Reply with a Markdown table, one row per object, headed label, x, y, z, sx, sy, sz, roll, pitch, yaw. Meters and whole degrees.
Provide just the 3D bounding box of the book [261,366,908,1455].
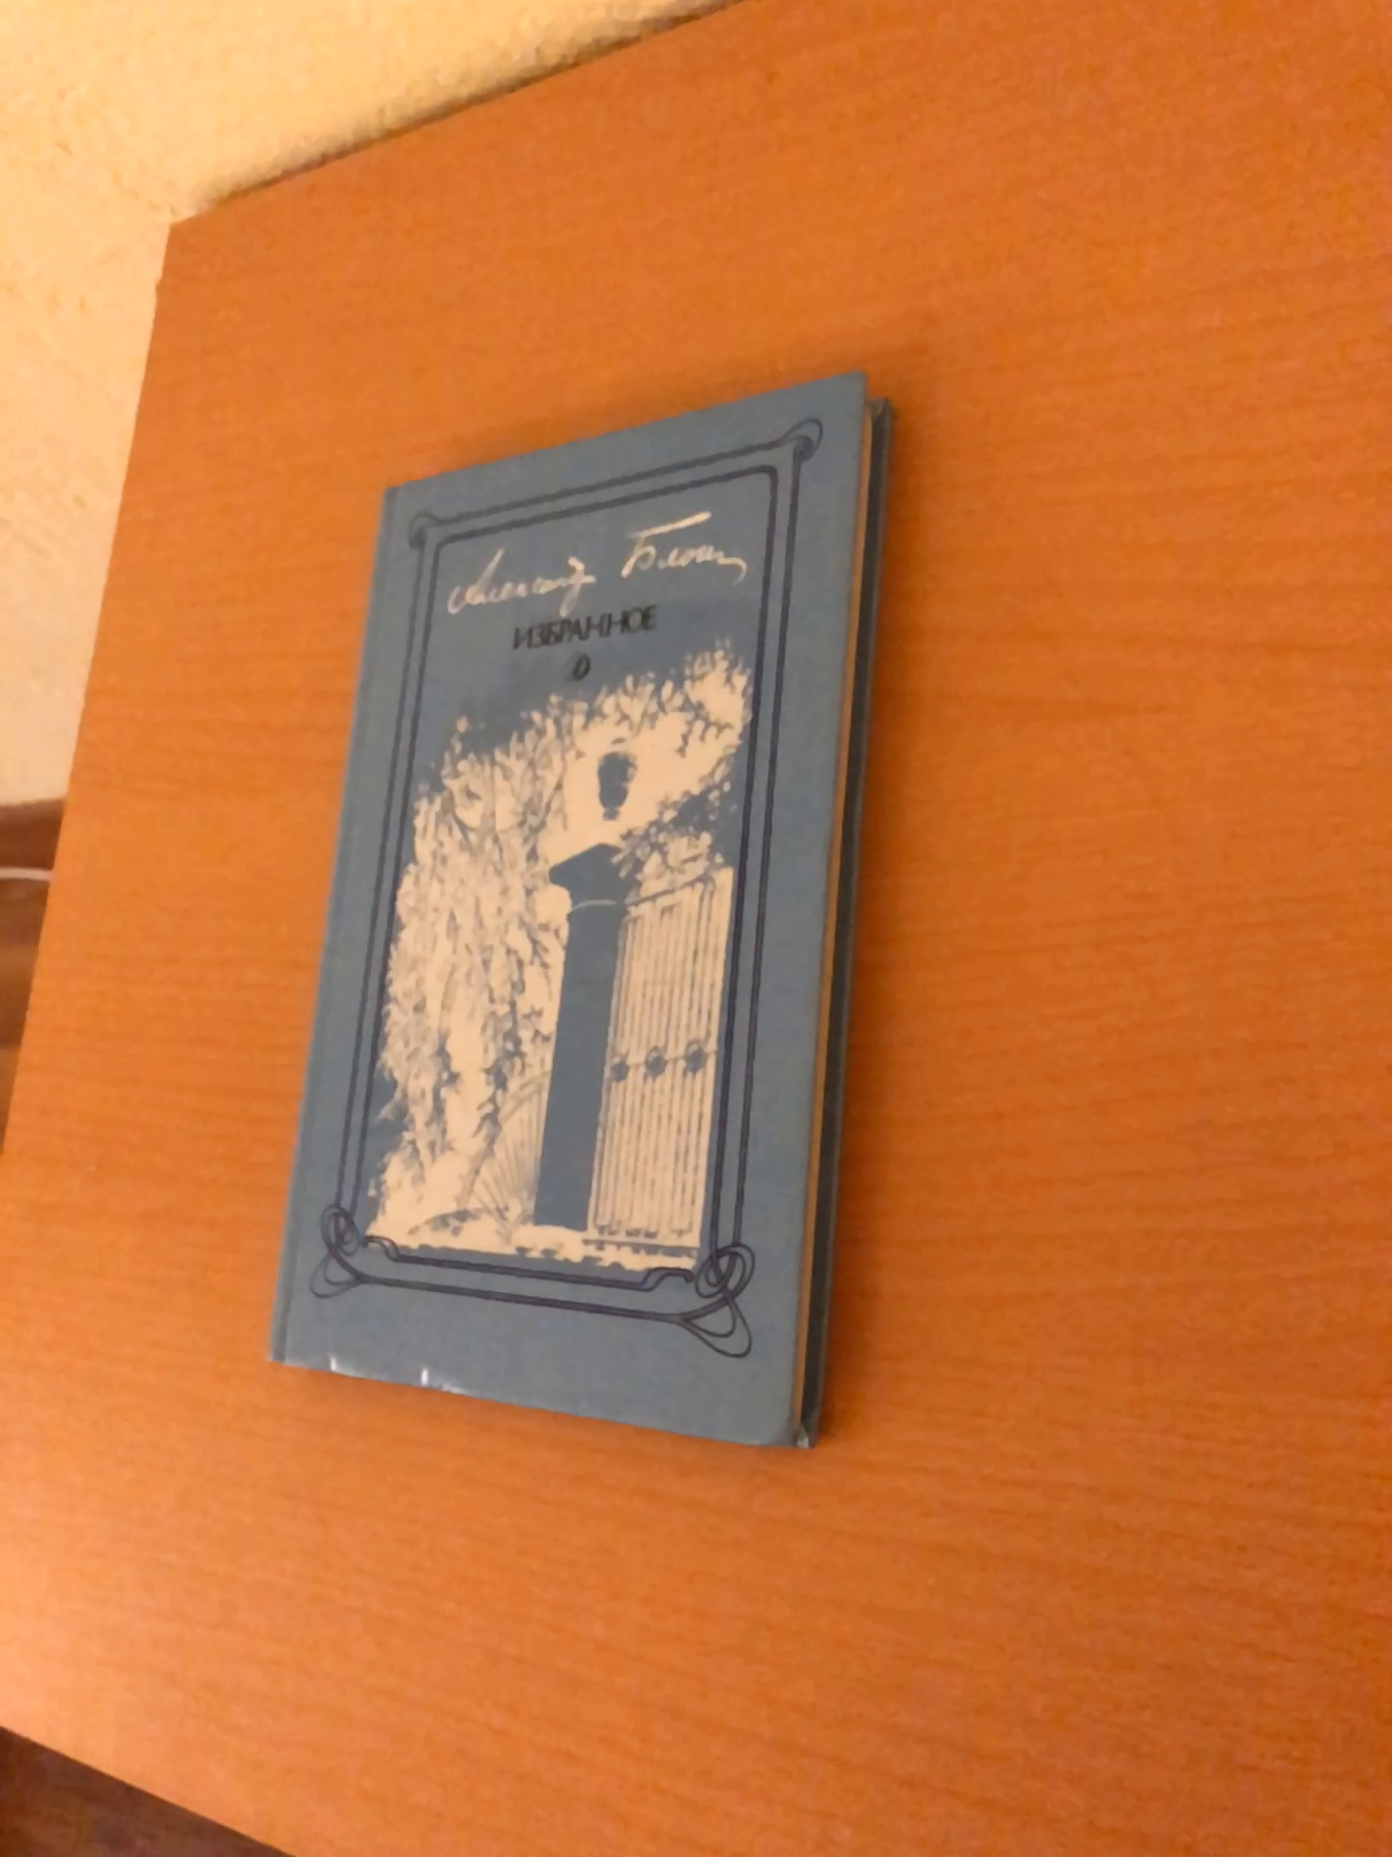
| label | x | y | z | sx | sy | sz | roll | pitch | yaw |
| --- | --- | --- | --- | --- | --- | --- | --- | --- | --- |
| book | -0.026 | -0.006 | 0.335 | 0.135 | 0.020 | 0.210 | -2 | 77 | 32 |
